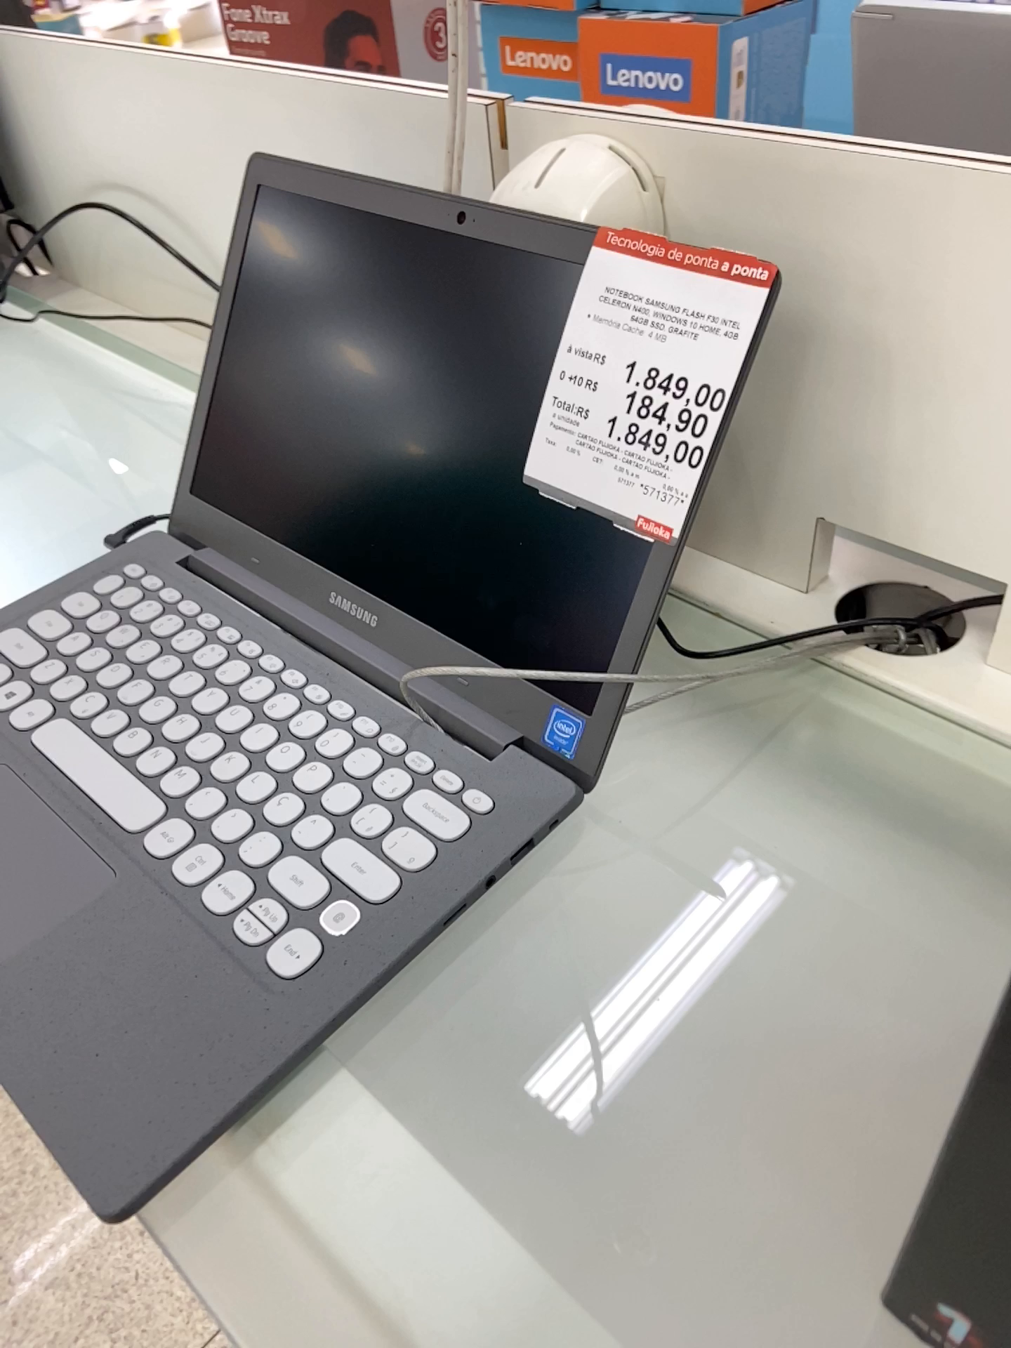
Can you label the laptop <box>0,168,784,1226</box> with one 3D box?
[{"bbox_3d":[-0.127,-0.054,0.432,0.325,0.172,0.341,28,52,35],"label":"laptop"}]
